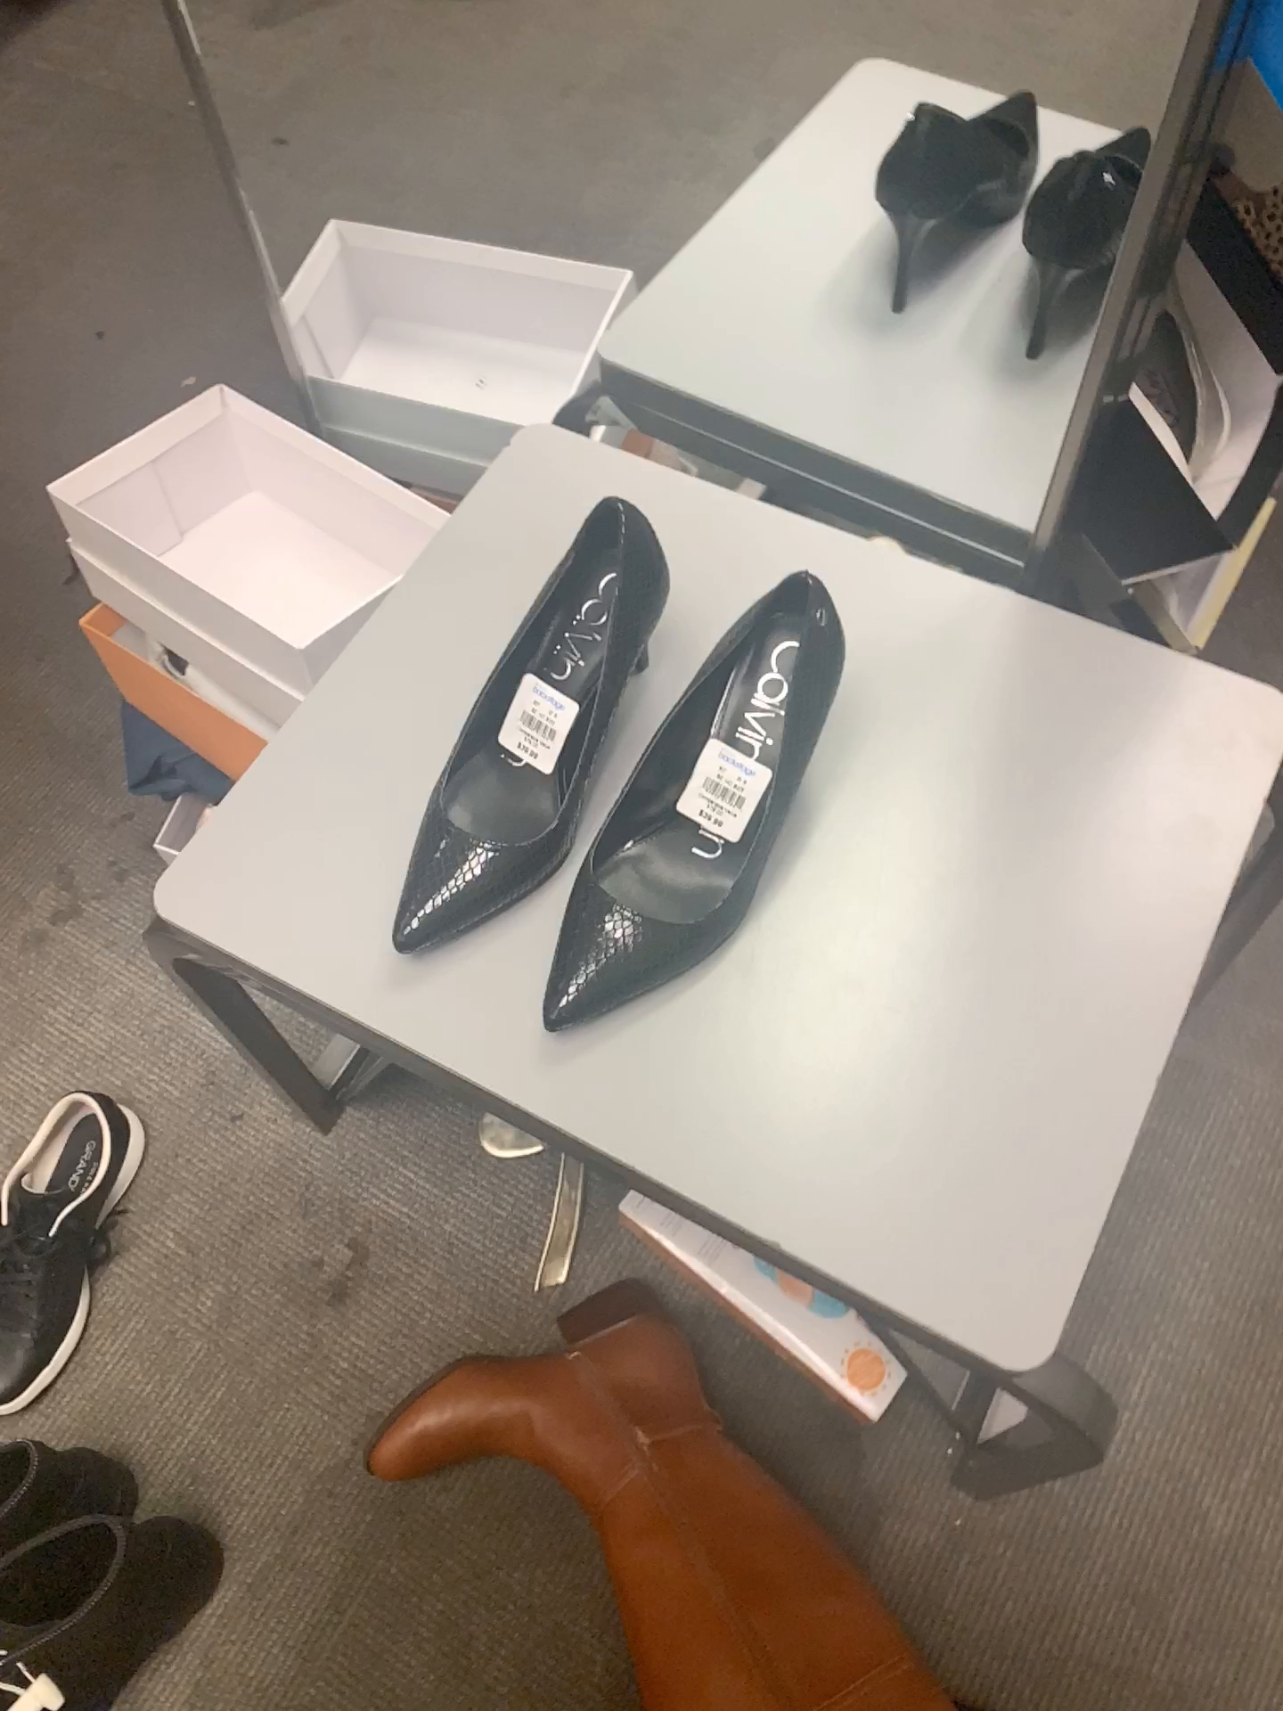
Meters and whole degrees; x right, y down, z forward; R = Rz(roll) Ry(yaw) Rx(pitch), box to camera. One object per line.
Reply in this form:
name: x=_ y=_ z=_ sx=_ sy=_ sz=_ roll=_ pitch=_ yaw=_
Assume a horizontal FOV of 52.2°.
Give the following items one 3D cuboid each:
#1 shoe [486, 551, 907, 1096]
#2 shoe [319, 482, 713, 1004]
shoe: x=0.034 y=-0.021 z=0.641 sx=0.080 sy=0.084 sz=0.254 roll=26 pitch=65 yaw=17
shoe: x=-0.052 y=-0.063 z=0.670 sx=0.080 sy=0.085 sz=0.254 roll=21 pitch=64 yaw=15
